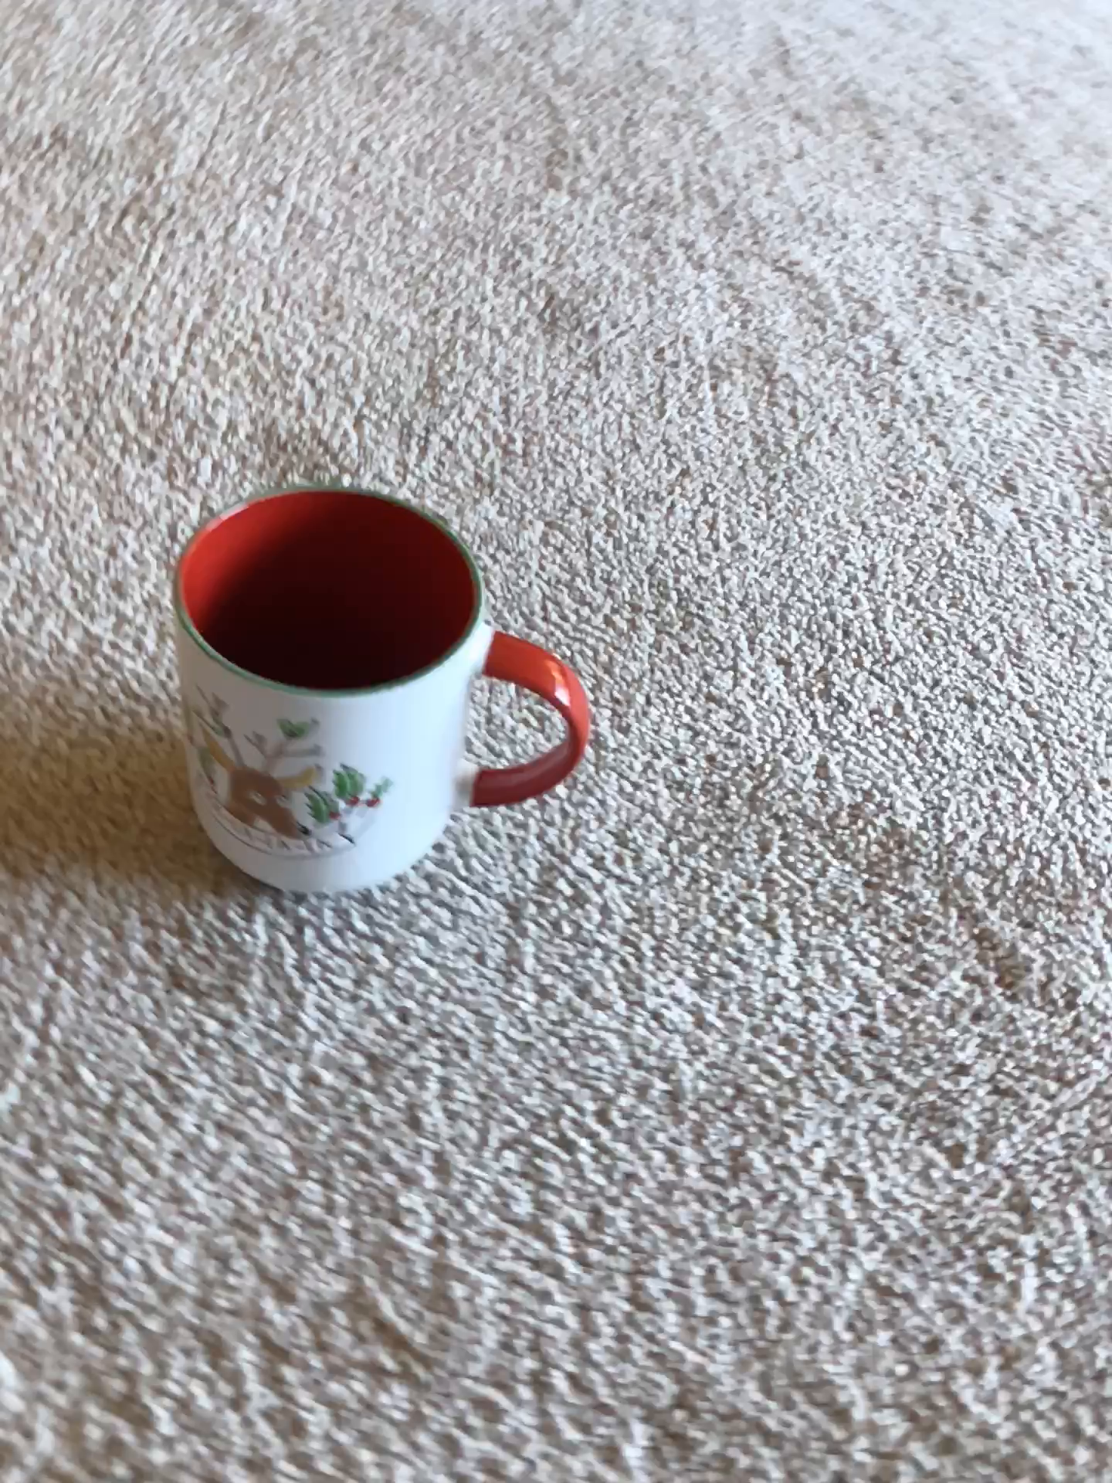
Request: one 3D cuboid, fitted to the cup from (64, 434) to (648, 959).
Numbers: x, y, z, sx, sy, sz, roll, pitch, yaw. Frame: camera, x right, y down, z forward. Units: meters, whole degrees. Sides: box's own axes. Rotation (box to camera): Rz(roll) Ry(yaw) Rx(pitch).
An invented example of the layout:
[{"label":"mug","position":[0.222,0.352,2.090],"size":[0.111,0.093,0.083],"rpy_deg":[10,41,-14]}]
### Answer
[{"label":"cup","position":[-0.055,-0.015,0.382],"size":[0.140,0.090,0.100],"rpy_deg":[13,47,1]}]
